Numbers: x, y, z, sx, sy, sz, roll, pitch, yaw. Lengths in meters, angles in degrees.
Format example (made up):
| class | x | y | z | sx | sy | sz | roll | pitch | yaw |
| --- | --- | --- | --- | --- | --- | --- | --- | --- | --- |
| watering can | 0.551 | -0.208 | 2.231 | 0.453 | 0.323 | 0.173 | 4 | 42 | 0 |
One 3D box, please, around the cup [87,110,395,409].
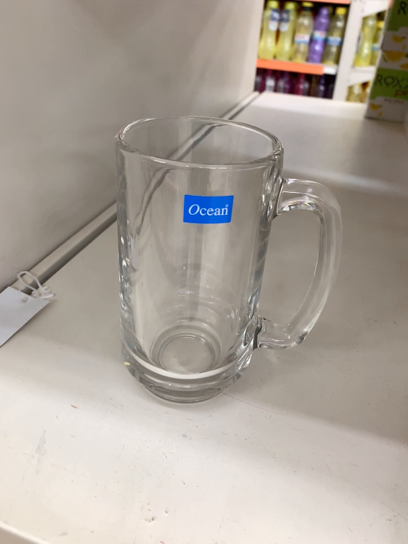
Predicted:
| class | x | y | z | sx | sy | sz | roll | pitch | yaw |
| --- | --- | --- | --- | --- | --- | --- | --- | --- | --- |
| cup | 0.011 | -0.005 | 0.219 | 0.111 | 0.127 | 0.076 | 3 | 33 | 0 |
